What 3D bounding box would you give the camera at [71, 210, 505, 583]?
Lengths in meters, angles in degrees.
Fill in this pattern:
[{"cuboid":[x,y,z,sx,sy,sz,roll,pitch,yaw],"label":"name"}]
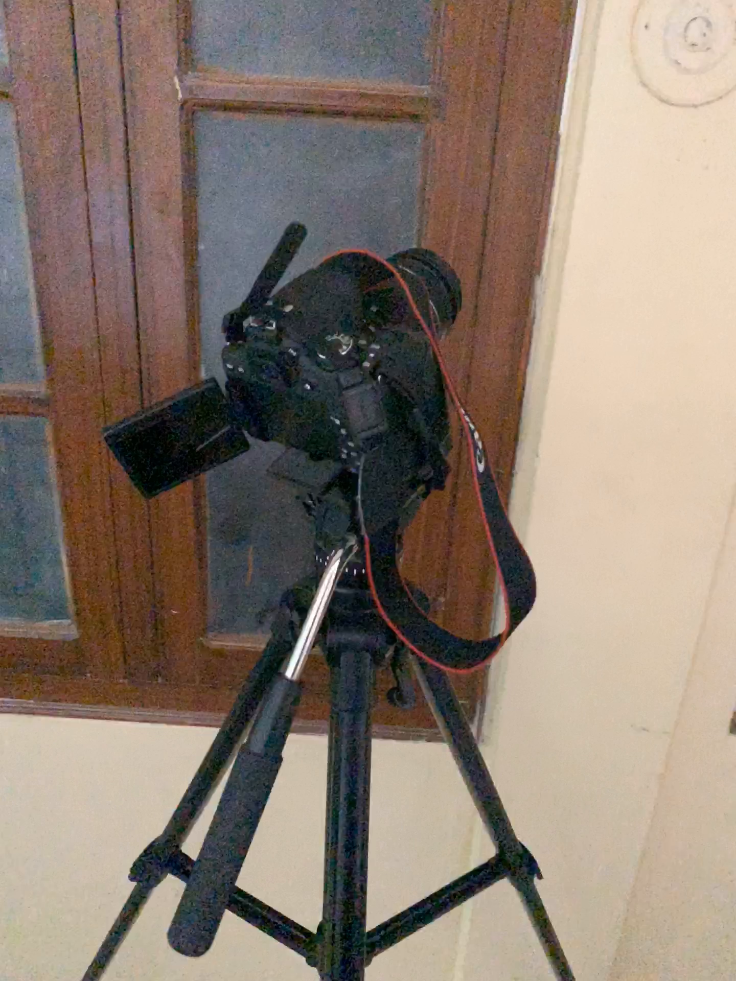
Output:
[{"cuboid":[-0.035,-0.076,0.474,0.142,0.099,0.226,19,51,34],"label":"camera"}]
